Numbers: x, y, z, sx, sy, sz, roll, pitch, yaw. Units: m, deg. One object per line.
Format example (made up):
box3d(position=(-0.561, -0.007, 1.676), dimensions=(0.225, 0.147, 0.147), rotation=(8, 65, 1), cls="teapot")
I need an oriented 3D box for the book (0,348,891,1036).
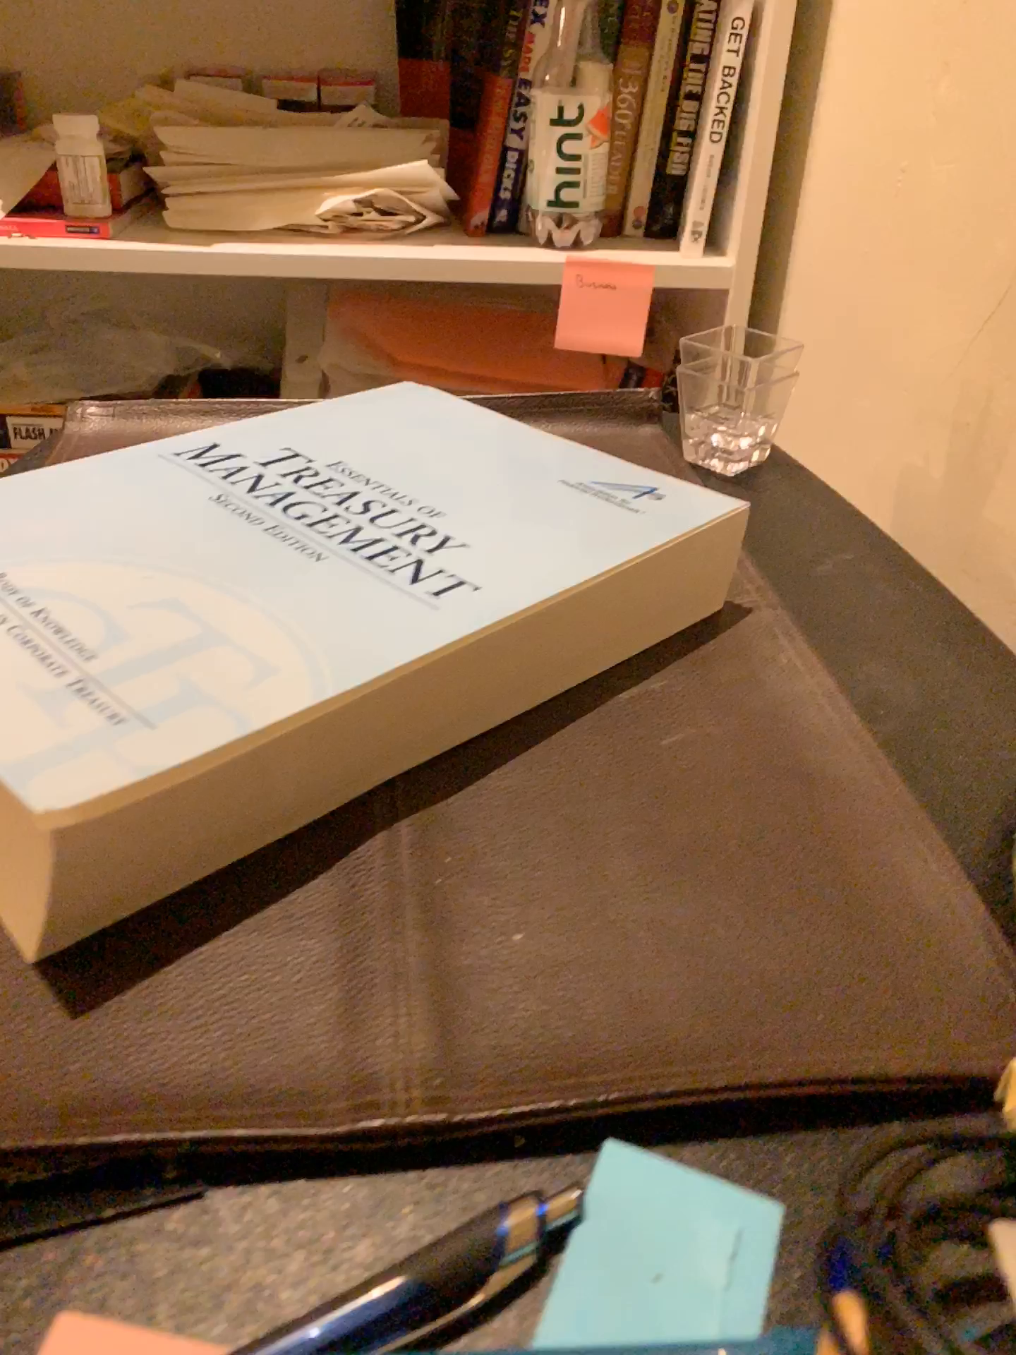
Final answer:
box3d(position=(-0.045, -0.041, 0.379), dimensions=(0.301, 0.060, 0.221), rotation=(-25, 42, -36), cls="book")
